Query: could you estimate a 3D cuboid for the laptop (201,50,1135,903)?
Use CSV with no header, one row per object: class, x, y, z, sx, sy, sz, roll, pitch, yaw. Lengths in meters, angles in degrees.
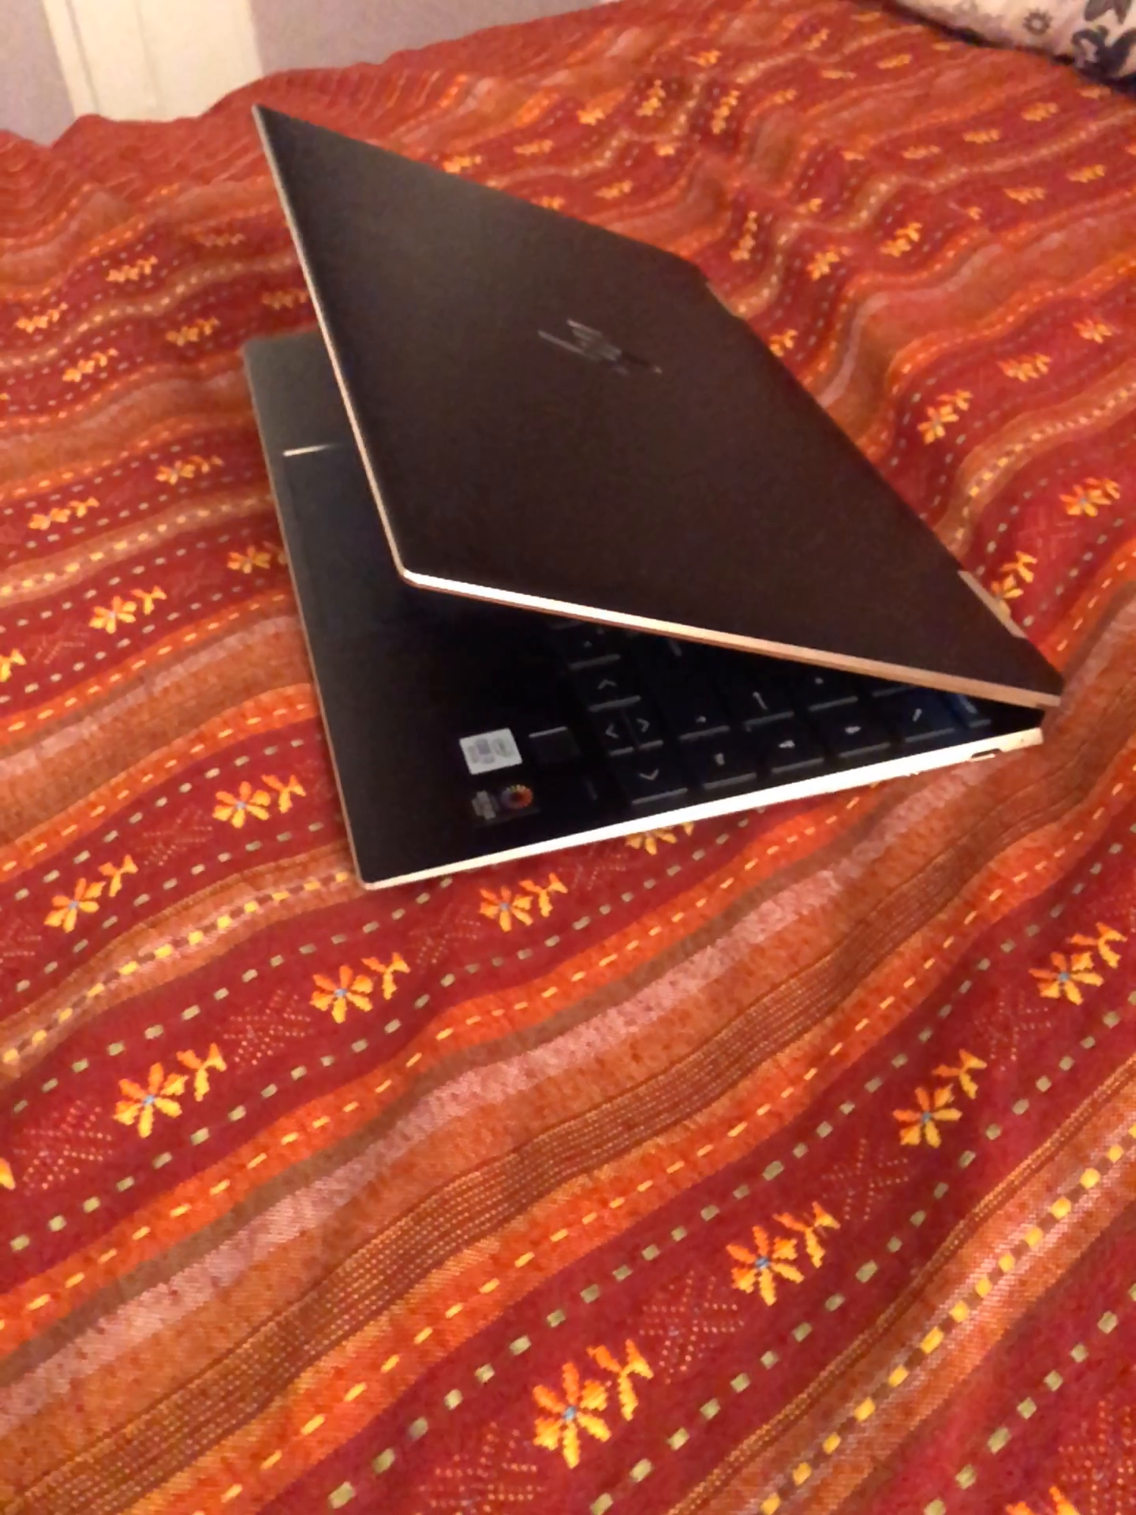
laptop,0.000,-0.131,0.410,0.203,0.101,0.327,-10,42,-13
